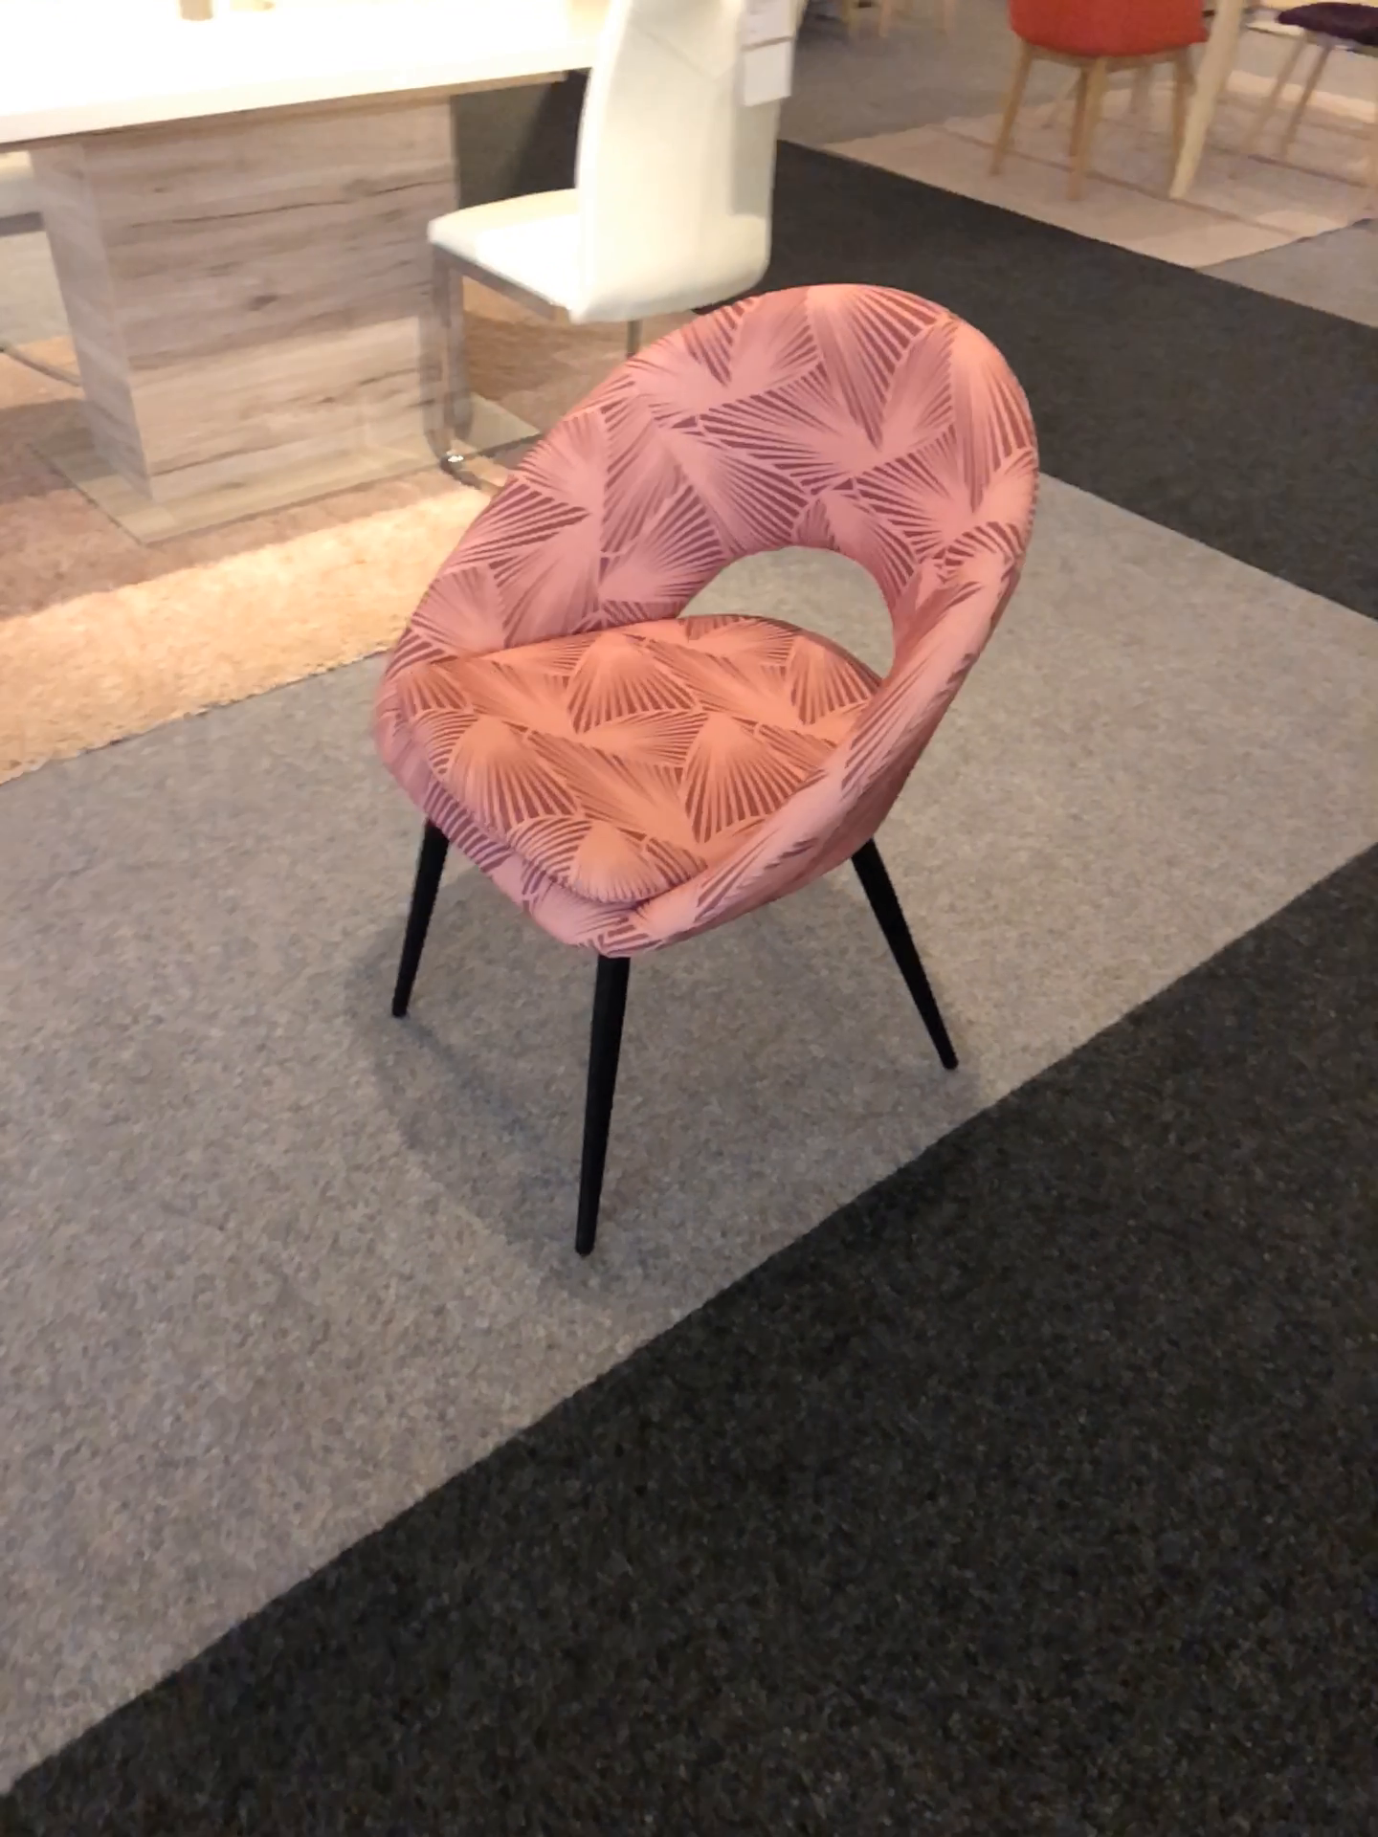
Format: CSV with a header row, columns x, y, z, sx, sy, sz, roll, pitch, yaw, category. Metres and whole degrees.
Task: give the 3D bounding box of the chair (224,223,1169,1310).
x,y,z,sx,sy,sz,roll,pitch,yaw,category
-0.014,-0.172,1.517,0.603,0.795,0.531,-23,46,-27,chair
